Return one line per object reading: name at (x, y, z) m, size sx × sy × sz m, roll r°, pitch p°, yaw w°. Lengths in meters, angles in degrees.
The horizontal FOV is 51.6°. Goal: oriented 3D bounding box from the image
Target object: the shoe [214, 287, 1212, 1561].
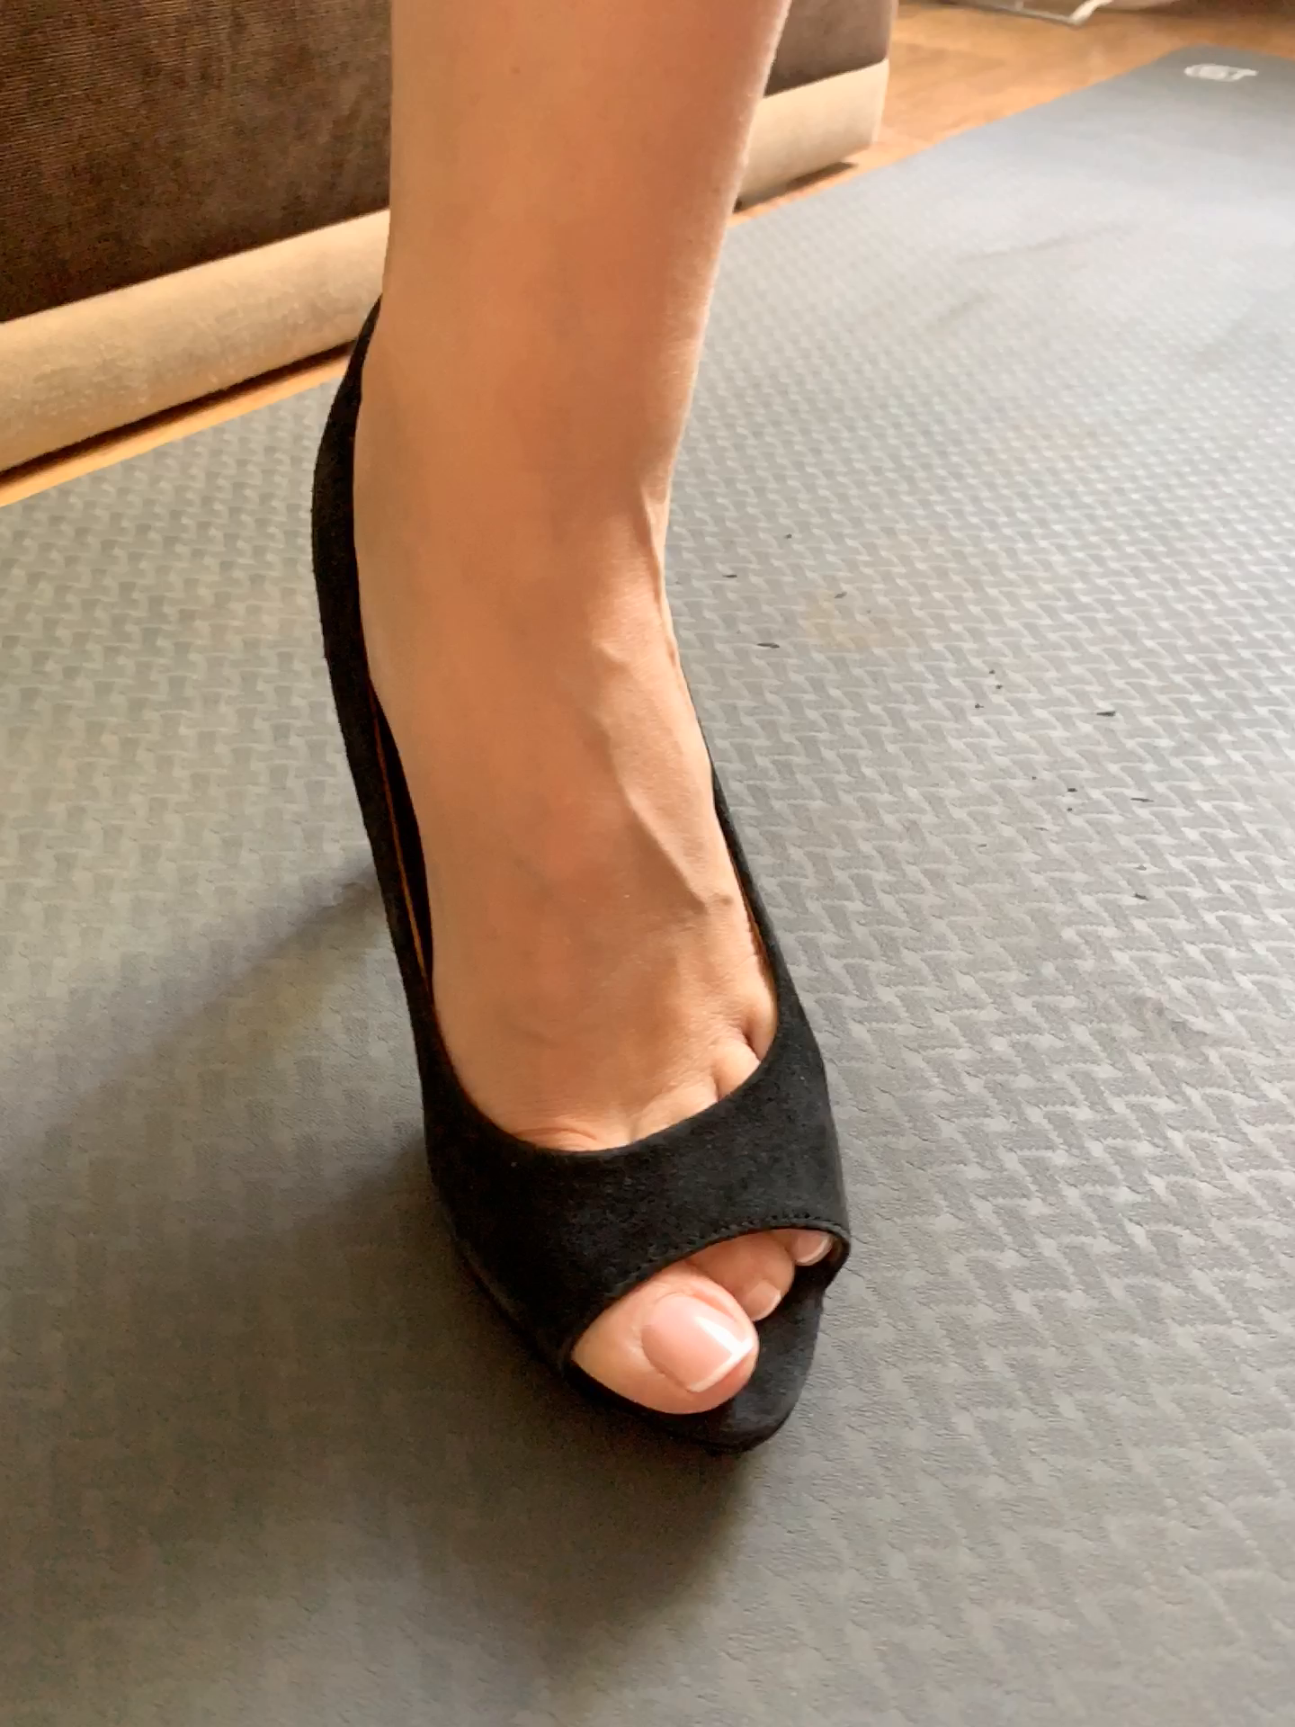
shoe at (-0.013, -0.008, 0.273) m, size 0.090 × 0.139 × 0.211 m, roll -14°, pitch 43°, yaw -18°
